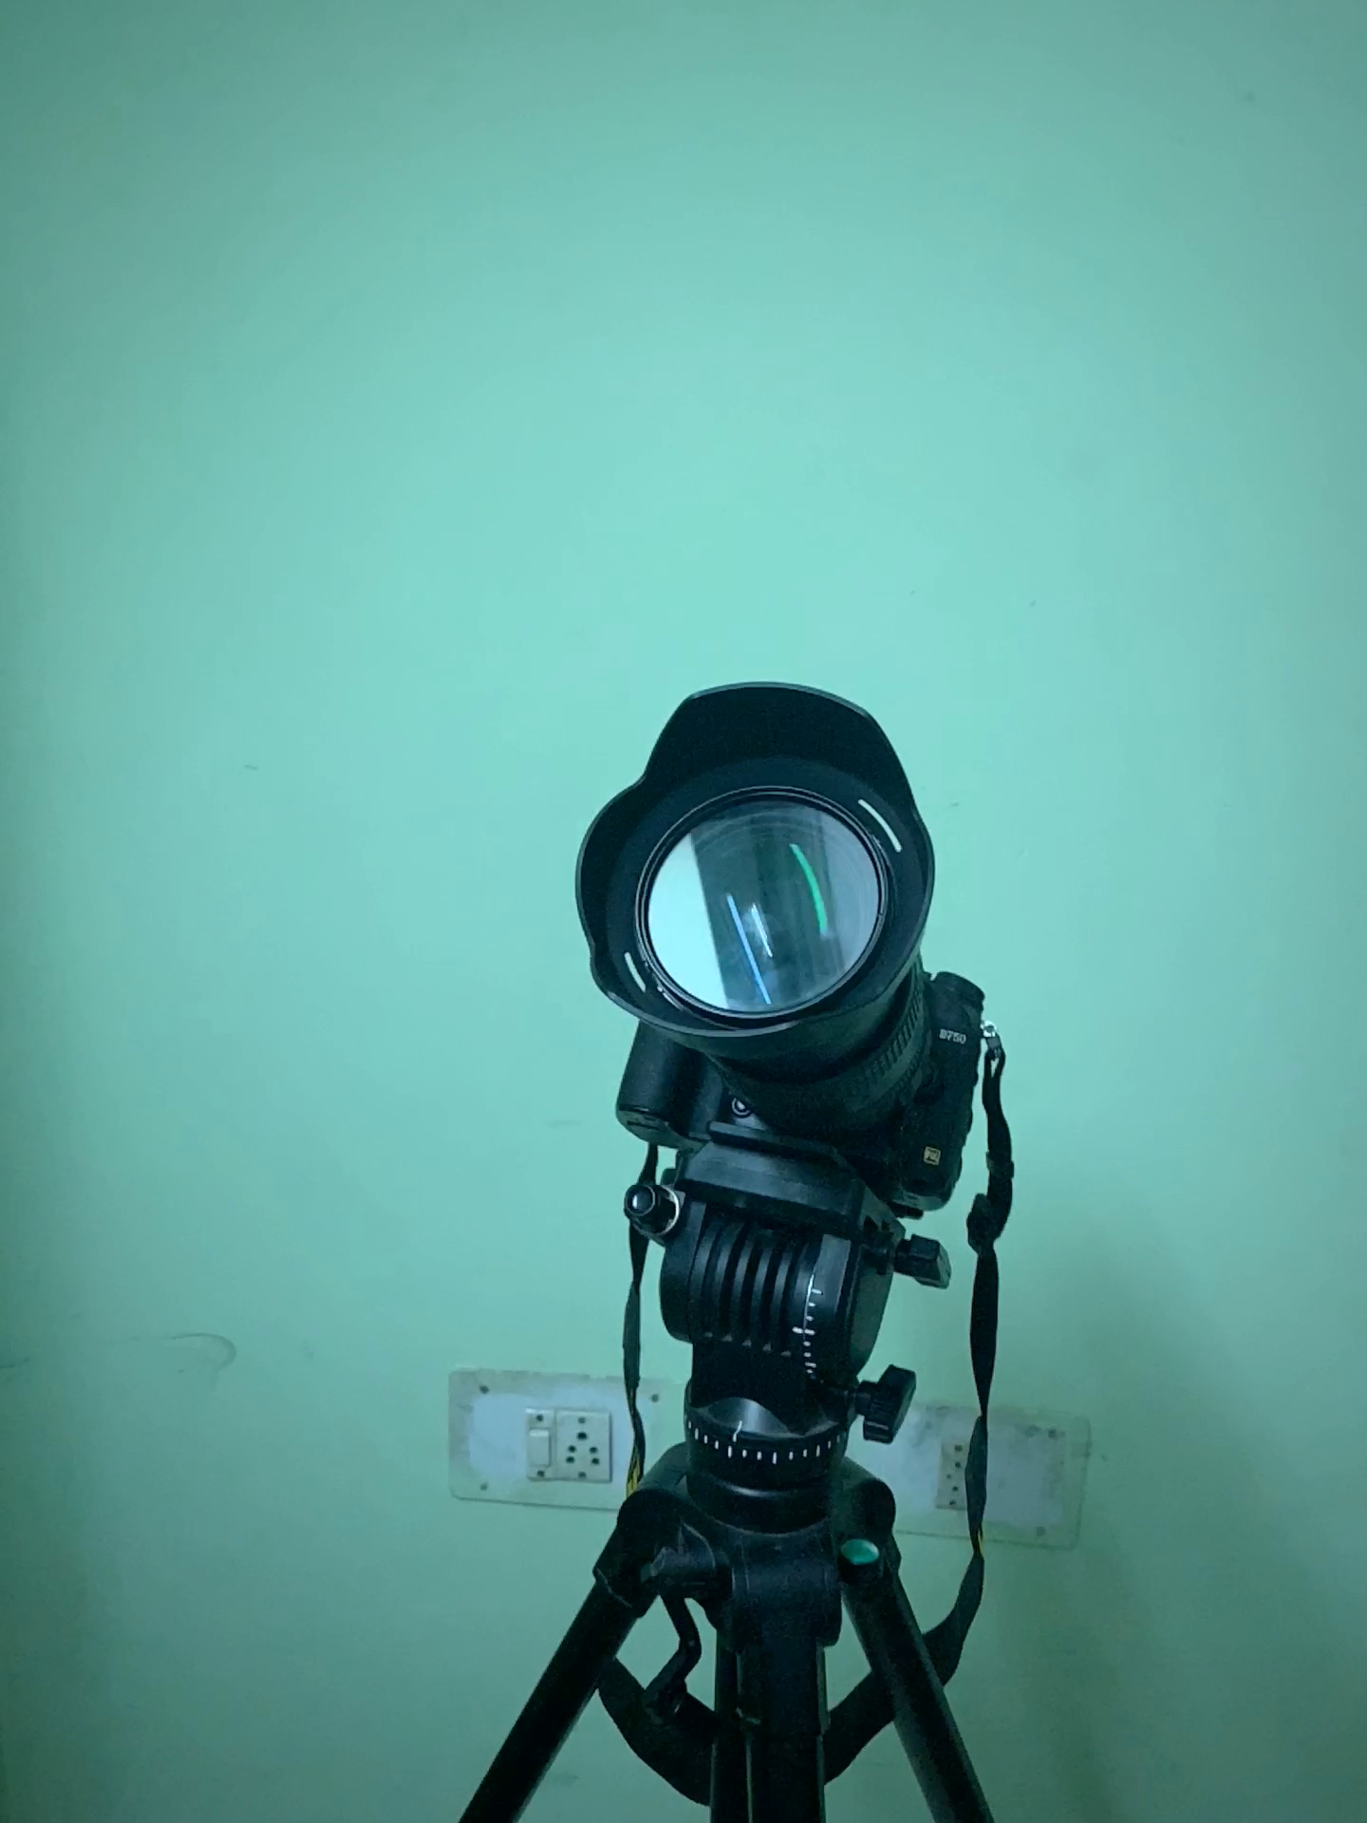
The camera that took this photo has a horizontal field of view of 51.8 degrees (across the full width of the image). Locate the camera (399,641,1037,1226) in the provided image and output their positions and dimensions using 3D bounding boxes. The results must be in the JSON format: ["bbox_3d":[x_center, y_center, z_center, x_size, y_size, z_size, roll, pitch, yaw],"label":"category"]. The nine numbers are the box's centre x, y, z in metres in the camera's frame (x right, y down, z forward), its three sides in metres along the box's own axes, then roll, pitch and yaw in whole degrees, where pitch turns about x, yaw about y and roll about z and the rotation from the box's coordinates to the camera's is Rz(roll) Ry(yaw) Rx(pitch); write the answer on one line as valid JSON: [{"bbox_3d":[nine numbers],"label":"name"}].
[{"bbox_3d":[0.036,0.022,0.512,0.152,0.120,0.247,8,-17,19],"label":"camera"}]
